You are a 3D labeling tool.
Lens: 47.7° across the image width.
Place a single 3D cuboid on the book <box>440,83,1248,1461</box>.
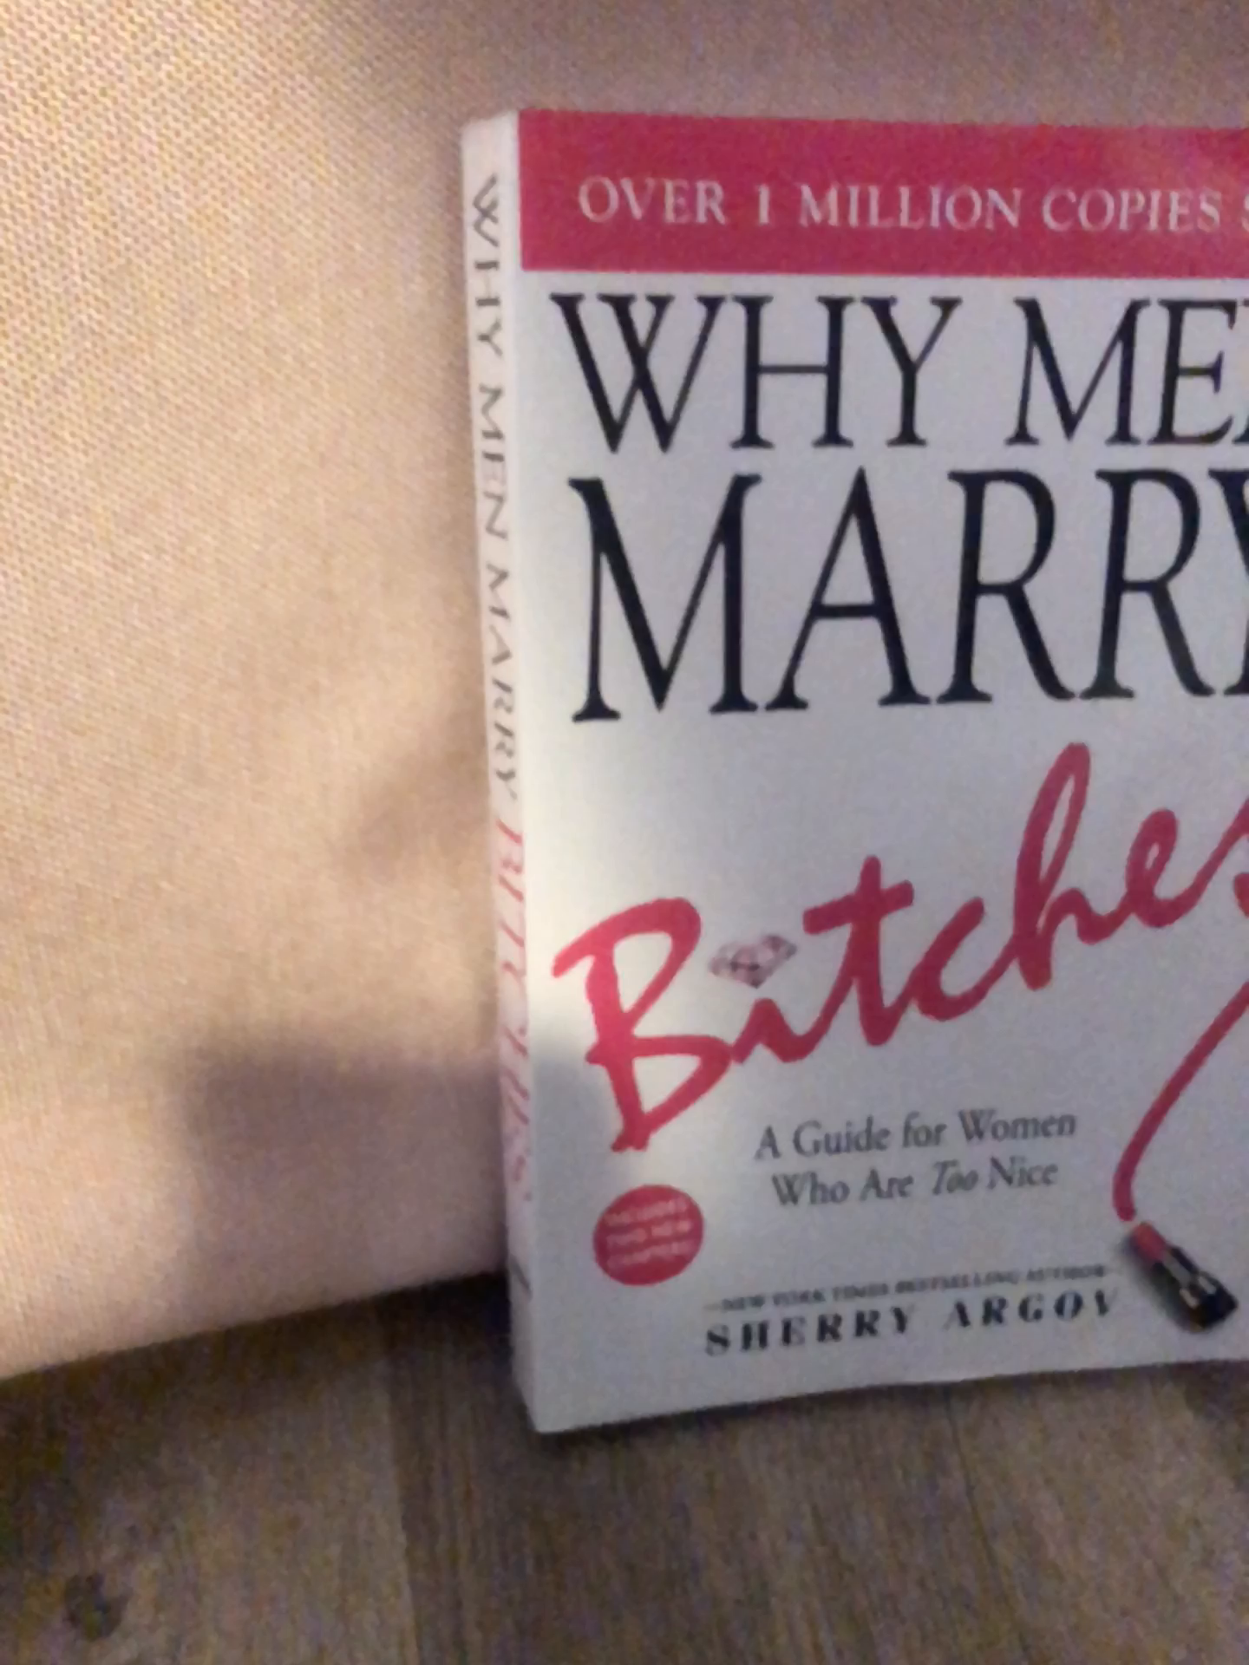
[{"bbox_3d":[0.047,-0.001,0.245,0.150,0.219,0.037,-2,19,-9],"label":"book"}]
